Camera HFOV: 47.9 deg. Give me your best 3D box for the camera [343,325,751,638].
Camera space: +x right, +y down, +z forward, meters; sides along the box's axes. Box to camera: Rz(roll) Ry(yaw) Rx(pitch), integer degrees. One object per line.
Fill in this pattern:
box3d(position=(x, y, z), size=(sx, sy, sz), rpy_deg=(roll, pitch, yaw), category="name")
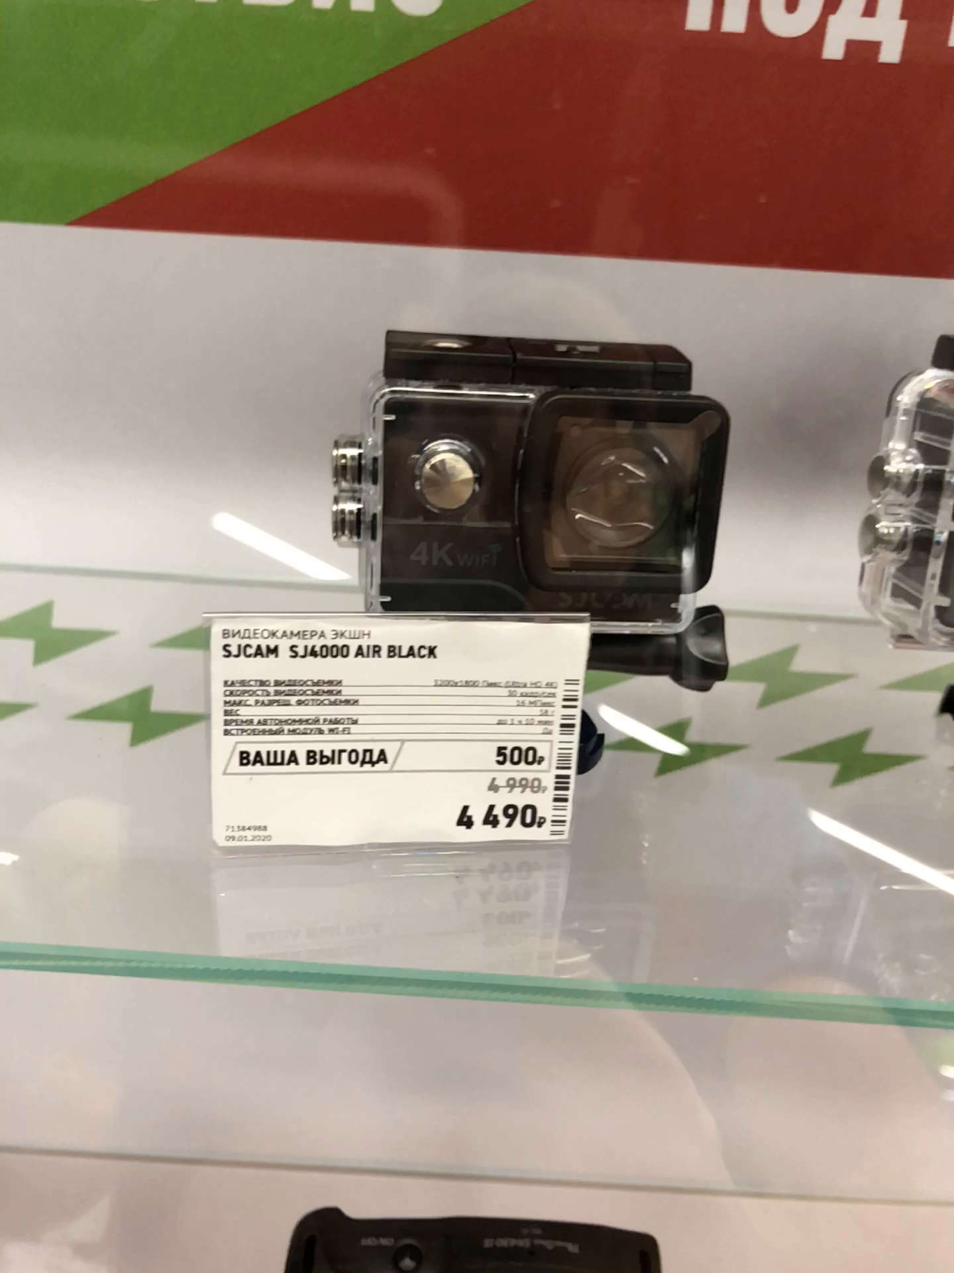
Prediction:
box3d(position=(0.010, -0.032, 0.215), size=(0.074, 0.056, 0.033), rpy_deg=(0, 17, -6), category="camera")
